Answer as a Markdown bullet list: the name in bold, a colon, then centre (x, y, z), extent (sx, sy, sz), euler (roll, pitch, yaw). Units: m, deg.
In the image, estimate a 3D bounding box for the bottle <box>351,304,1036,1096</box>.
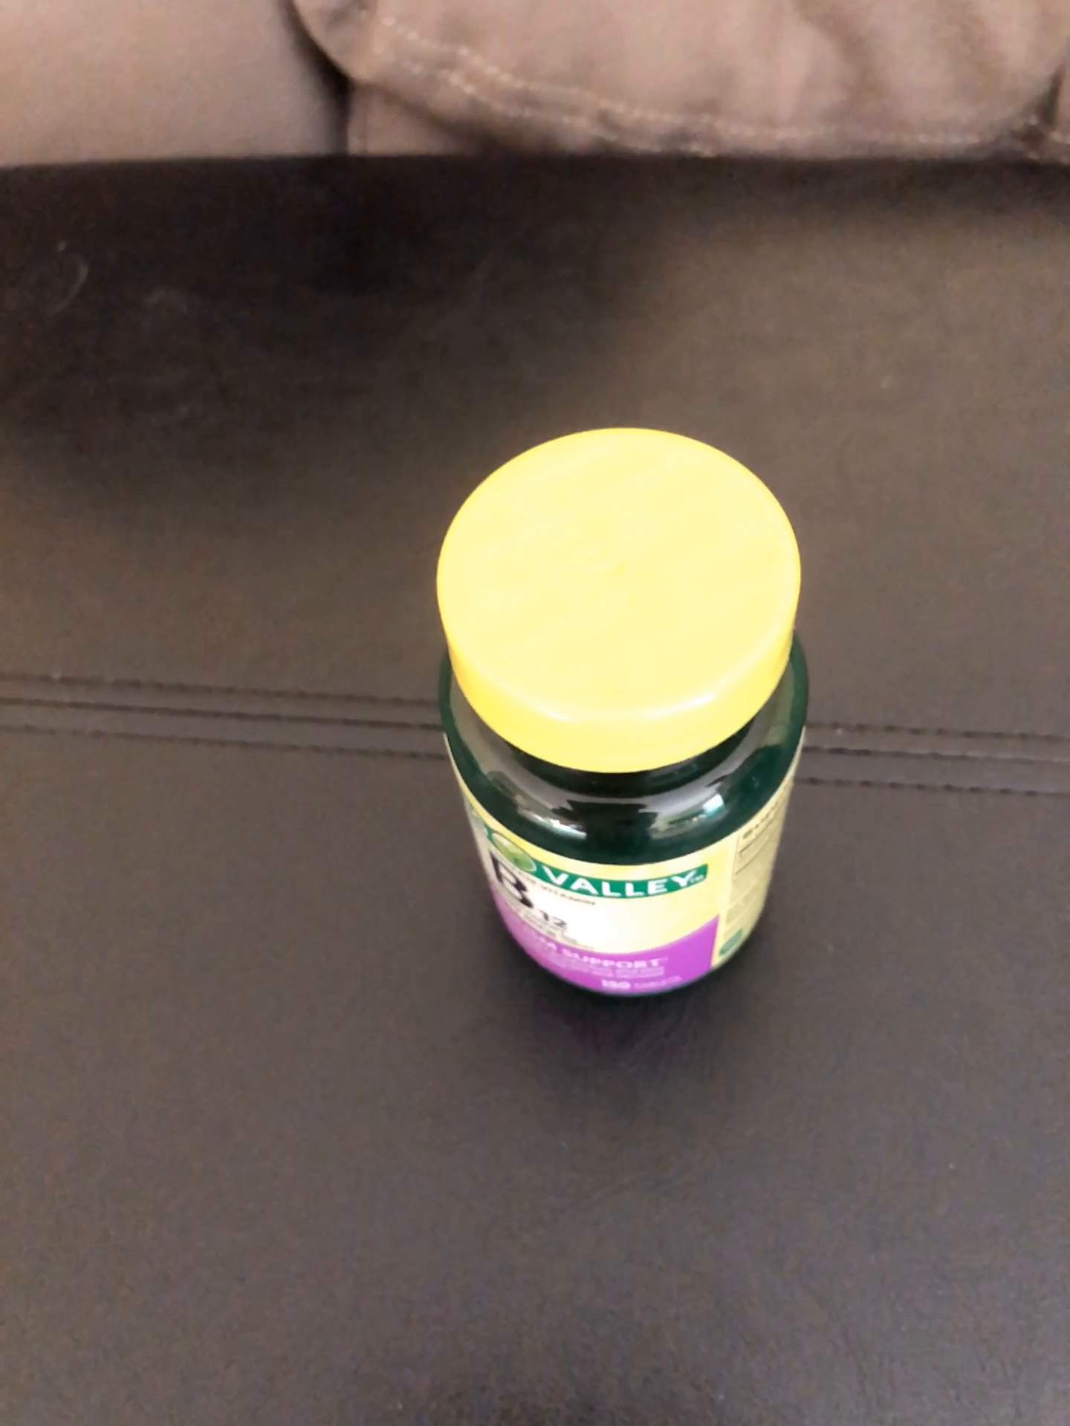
- **bottle**: centre (0.019, 0.005, 0.164), extent (0.050, 0.090, 0.050), euler (-2, 59, 4)
